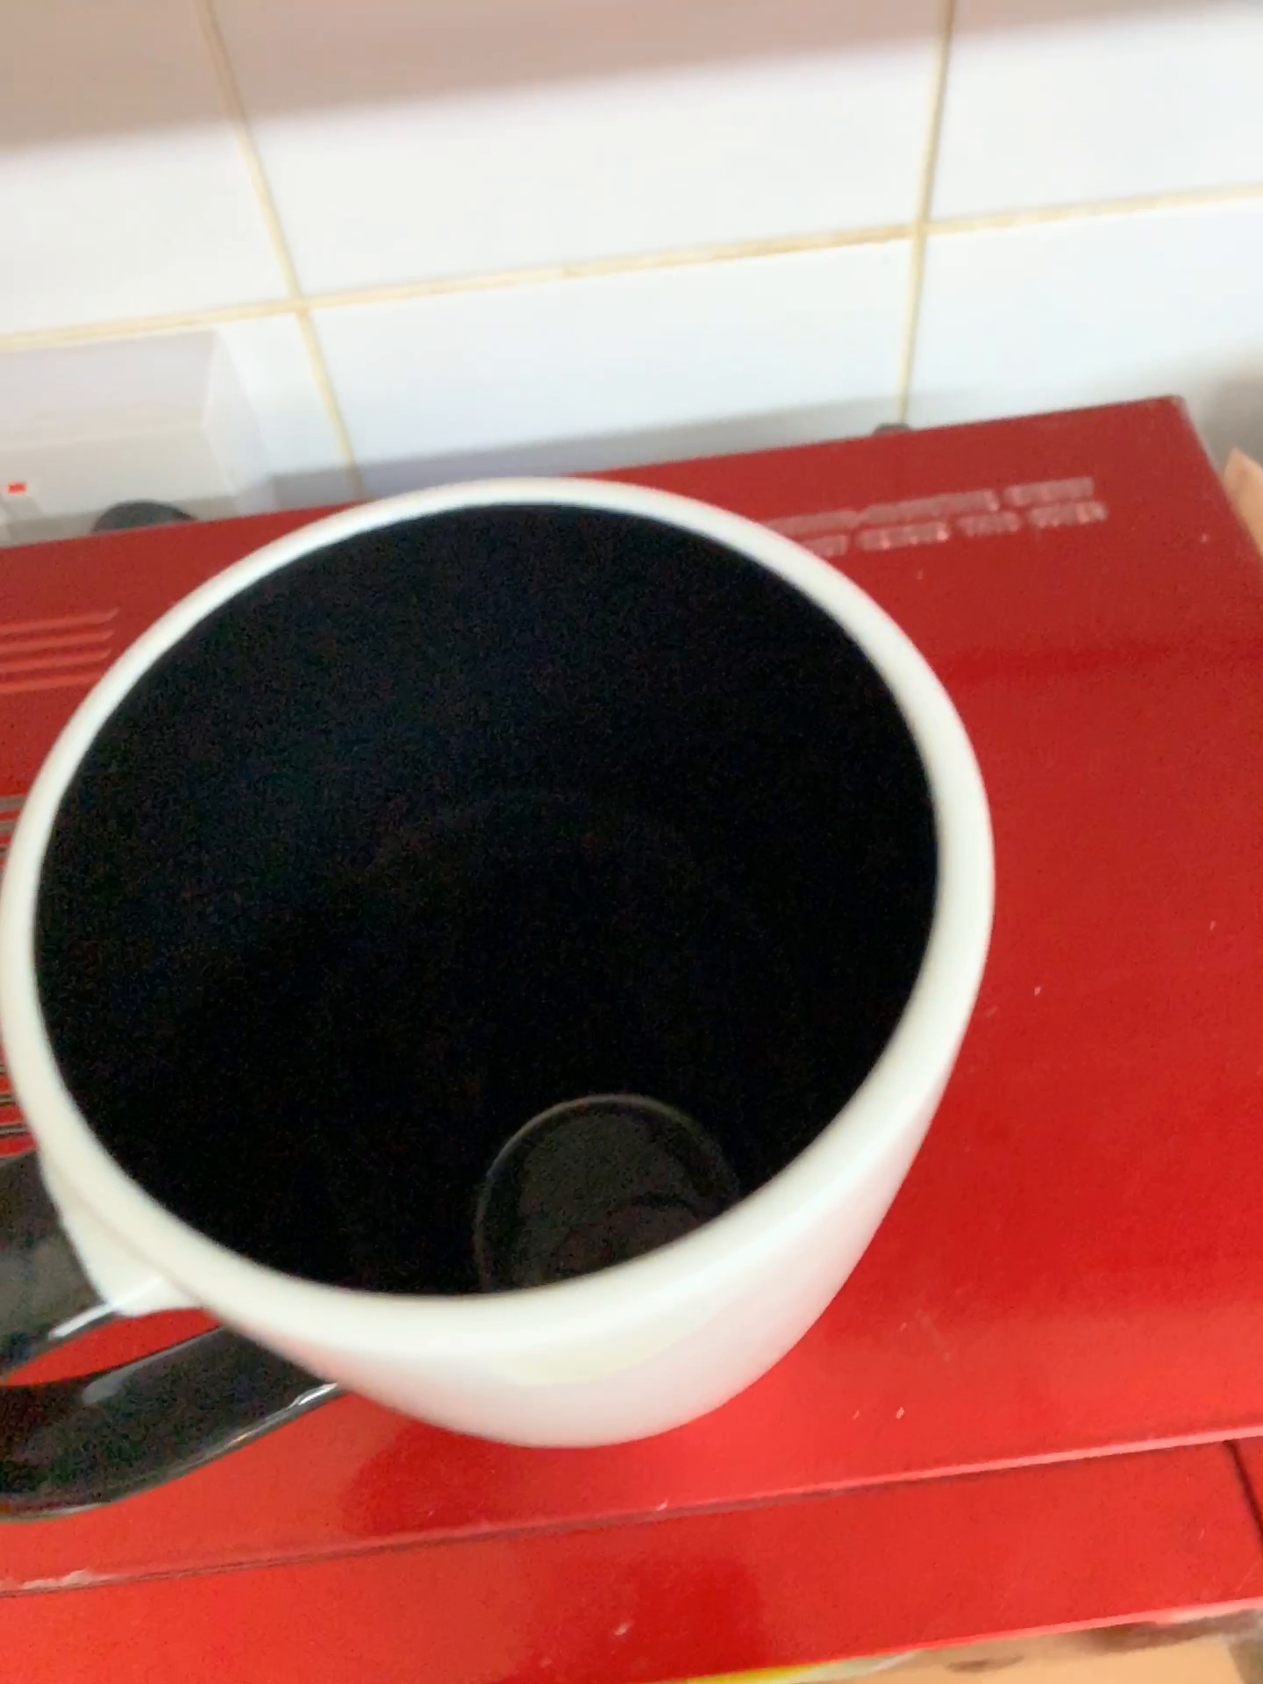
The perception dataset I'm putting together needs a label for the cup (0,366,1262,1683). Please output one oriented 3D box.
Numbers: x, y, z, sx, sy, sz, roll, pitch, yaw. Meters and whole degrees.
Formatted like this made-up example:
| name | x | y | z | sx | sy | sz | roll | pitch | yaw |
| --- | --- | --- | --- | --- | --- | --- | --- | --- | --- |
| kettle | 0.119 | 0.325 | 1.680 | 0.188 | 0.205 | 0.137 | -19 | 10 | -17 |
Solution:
| name | x | y | z | sx | sy | sz | roll | pitch | yaw |
| --- | --- | --- | --- | --- | --- | --- | --- | --- | --- |
| cup | -0.020 | 0.037 | 0.173 | 0.130 | 0.129 | 0.091 | -22 | 59 | -9 |
